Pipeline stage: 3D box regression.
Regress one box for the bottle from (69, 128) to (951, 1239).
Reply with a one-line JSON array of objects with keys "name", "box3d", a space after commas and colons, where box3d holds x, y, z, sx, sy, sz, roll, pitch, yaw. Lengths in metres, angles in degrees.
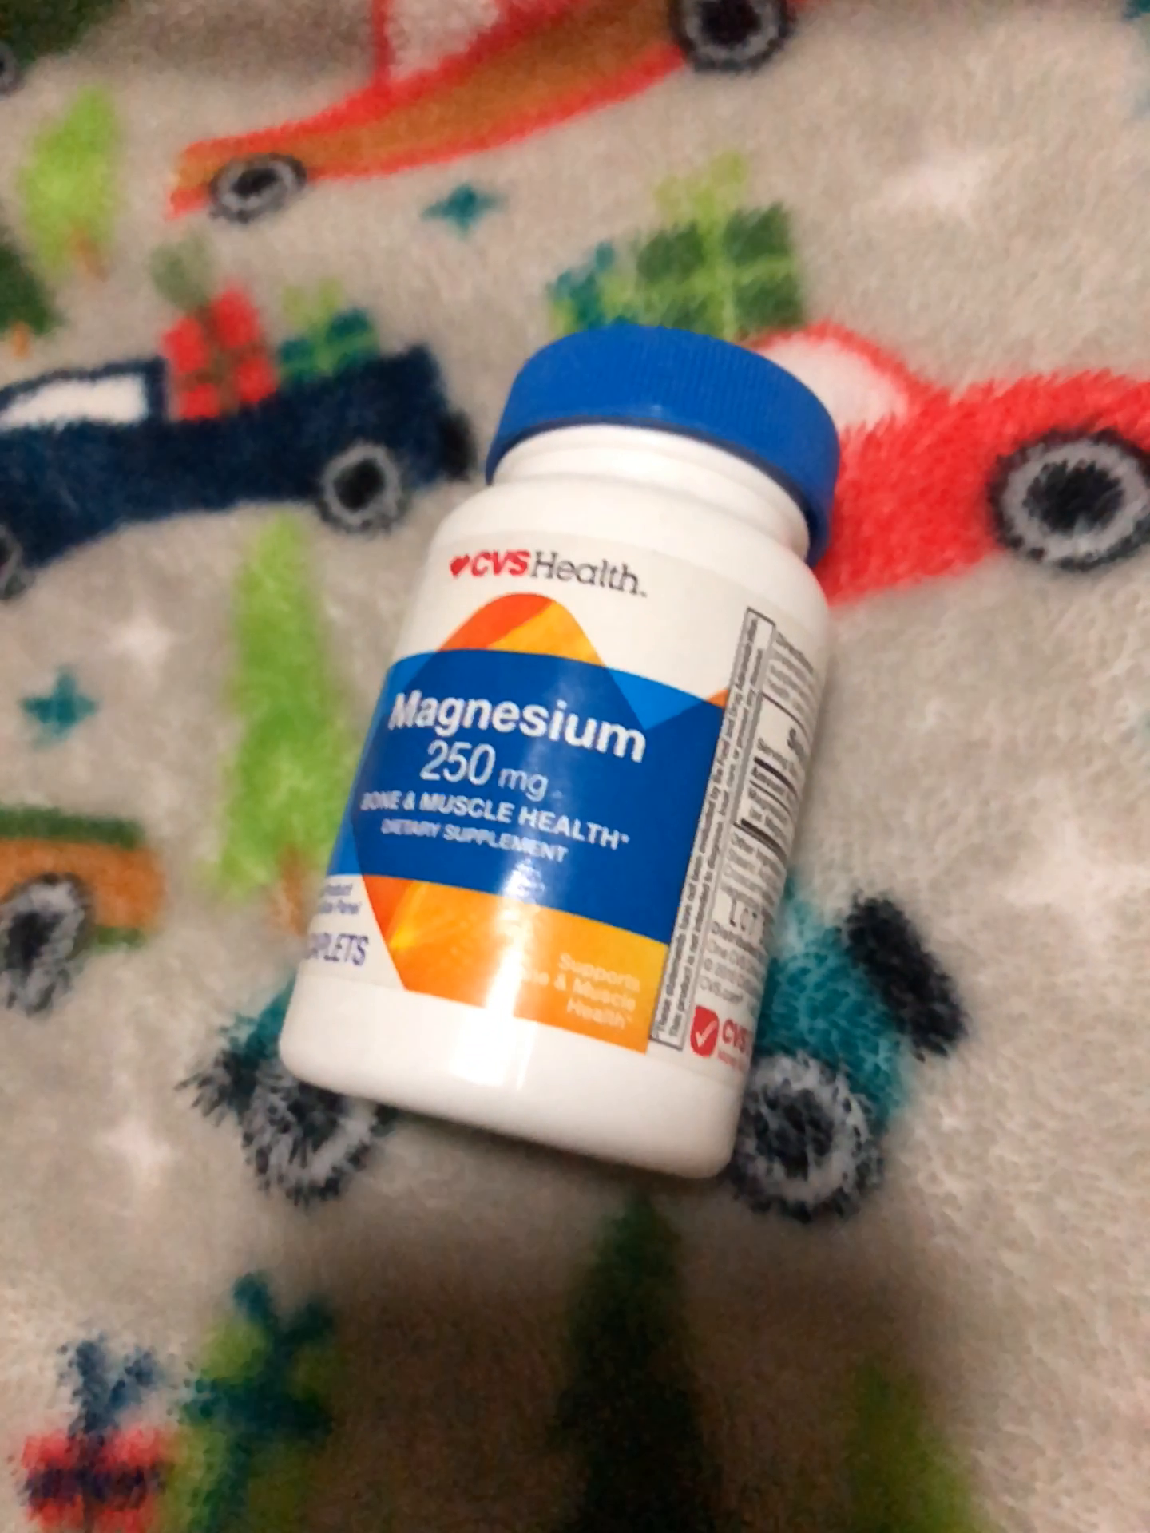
[{"name": "bottle", "box3d": [0.000, -0.008, 0.146, 0.060, 0.050, 0.100, 5, 72, 28]}]
